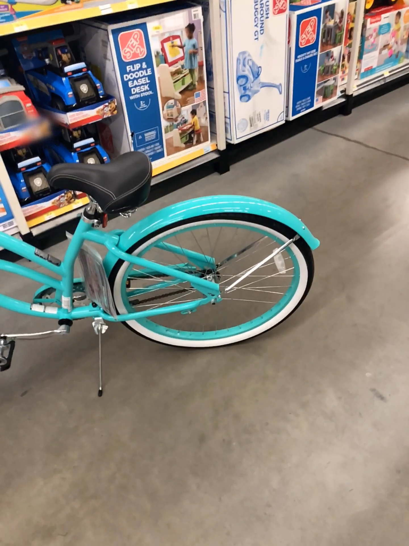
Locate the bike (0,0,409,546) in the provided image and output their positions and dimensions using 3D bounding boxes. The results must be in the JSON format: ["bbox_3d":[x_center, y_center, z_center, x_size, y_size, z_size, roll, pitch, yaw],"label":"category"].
[{"bbox_3d":[-0.476,0.045,1.088,1.491,1.143,0.762,-15,40,-7],"label":"bike"}]
